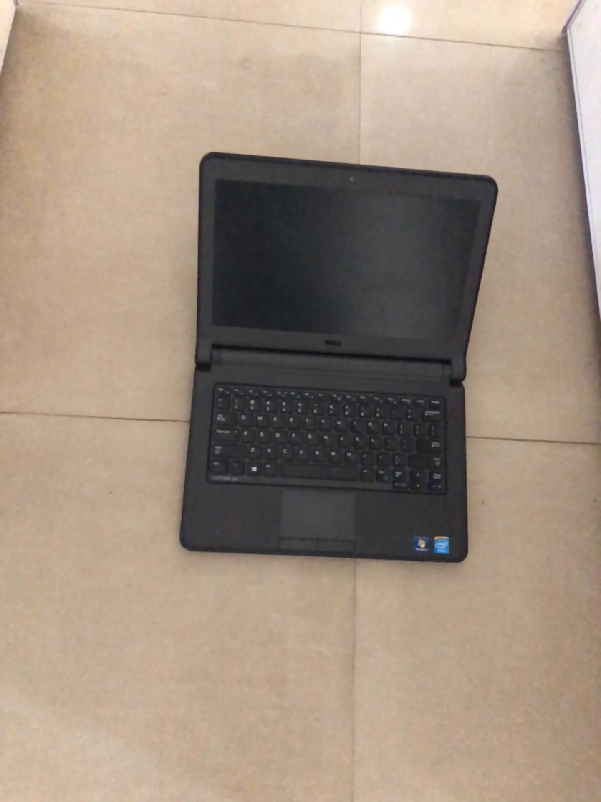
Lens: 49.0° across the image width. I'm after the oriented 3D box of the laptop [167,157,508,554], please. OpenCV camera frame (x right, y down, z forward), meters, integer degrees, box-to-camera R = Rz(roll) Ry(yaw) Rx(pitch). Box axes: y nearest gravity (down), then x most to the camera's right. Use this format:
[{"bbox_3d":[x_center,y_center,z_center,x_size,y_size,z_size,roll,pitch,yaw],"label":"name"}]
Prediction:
[{"bbox_3d":[0.037,-0.041,0.728,0.312,0.154,0.393,3,74,-4],"label":"laptop"}]
